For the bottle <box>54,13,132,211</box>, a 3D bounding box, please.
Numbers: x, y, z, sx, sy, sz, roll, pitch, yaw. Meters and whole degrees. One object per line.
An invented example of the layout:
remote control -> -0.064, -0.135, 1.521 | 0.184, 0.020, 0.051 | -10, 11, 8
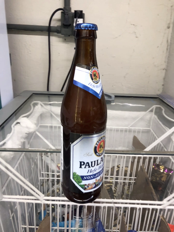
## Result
bottle -> 0.004, 0.000, 0.263 | 0.060, 0.238, 0.070 | 18, 25, 37
